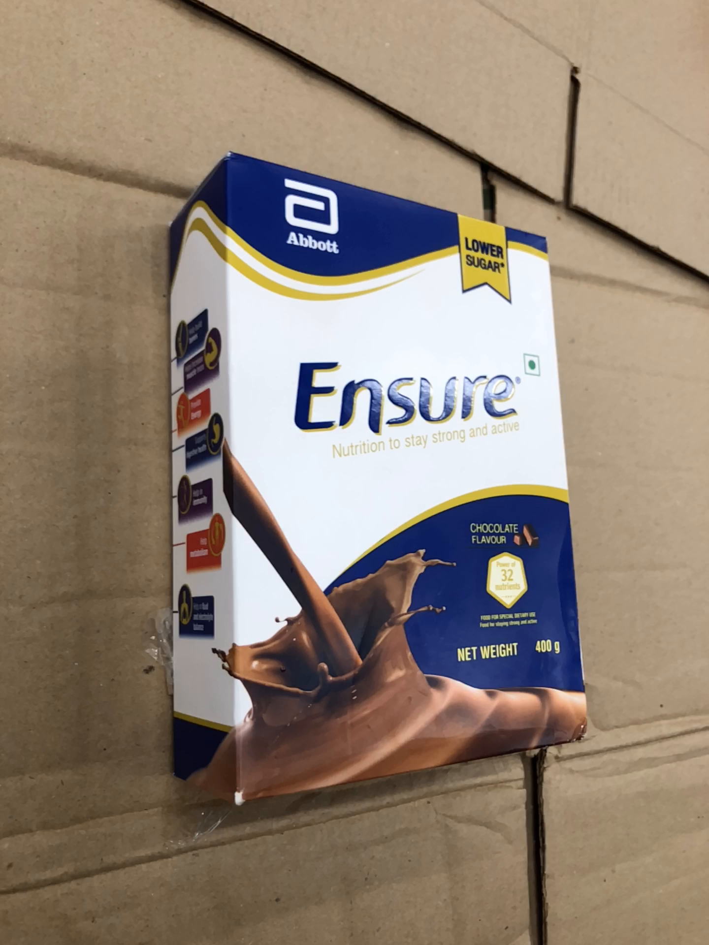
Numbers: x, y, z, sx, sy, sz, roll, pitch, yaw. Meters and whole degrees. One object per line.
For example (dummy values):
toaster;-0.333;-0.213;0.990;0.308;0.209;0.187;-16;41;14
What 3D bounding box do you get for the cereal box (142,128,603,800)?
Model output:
cereal box;0.006;-0.002;0.266;0.141;0.050;0.180;3;79;-31
